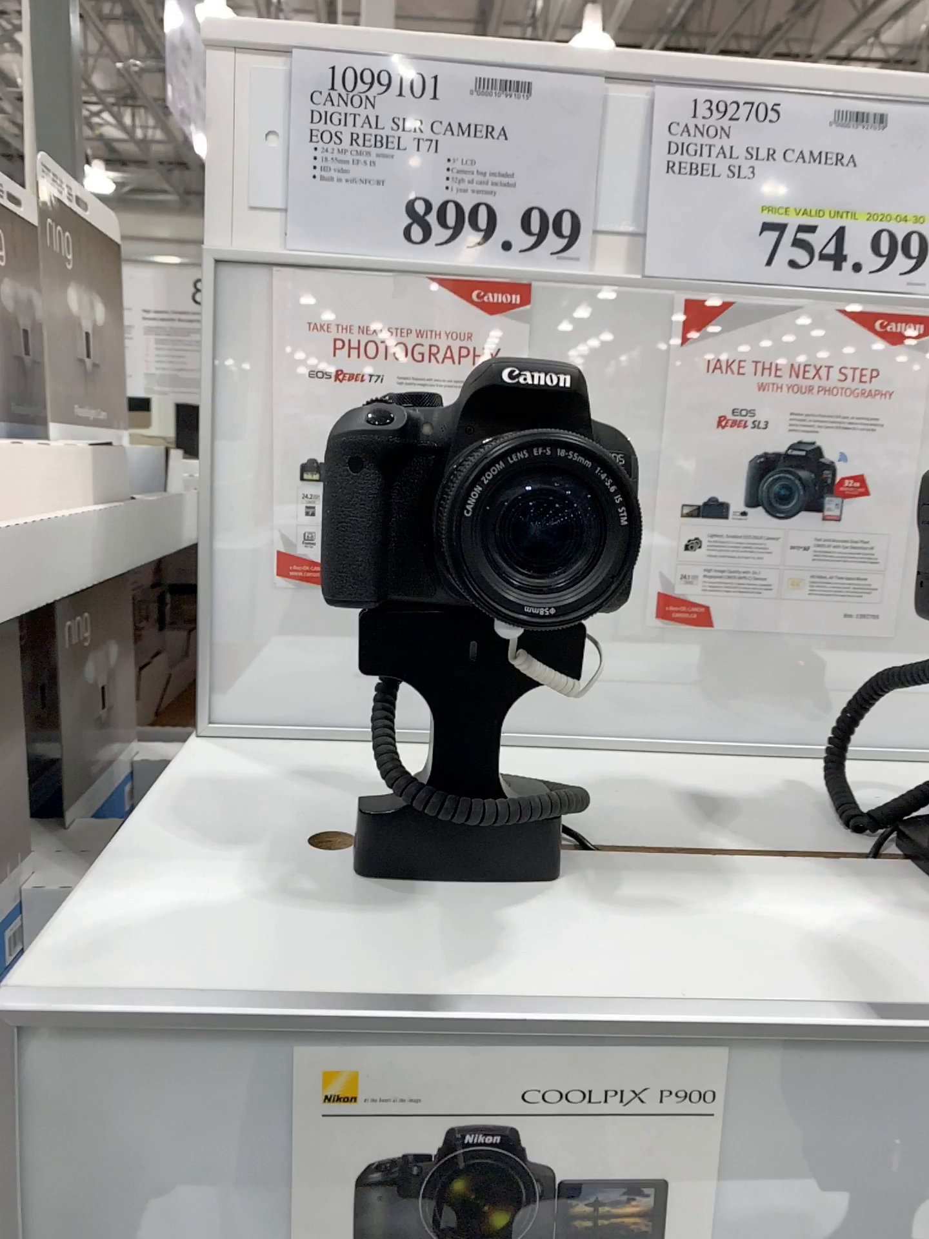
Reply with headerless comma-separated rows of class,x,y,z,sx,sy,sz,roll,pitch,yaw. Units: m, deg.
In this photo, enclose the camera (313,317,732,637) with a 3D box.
camera,0.011,-0.054,0.371,0.132,0.096,0.130,1,9,-7
